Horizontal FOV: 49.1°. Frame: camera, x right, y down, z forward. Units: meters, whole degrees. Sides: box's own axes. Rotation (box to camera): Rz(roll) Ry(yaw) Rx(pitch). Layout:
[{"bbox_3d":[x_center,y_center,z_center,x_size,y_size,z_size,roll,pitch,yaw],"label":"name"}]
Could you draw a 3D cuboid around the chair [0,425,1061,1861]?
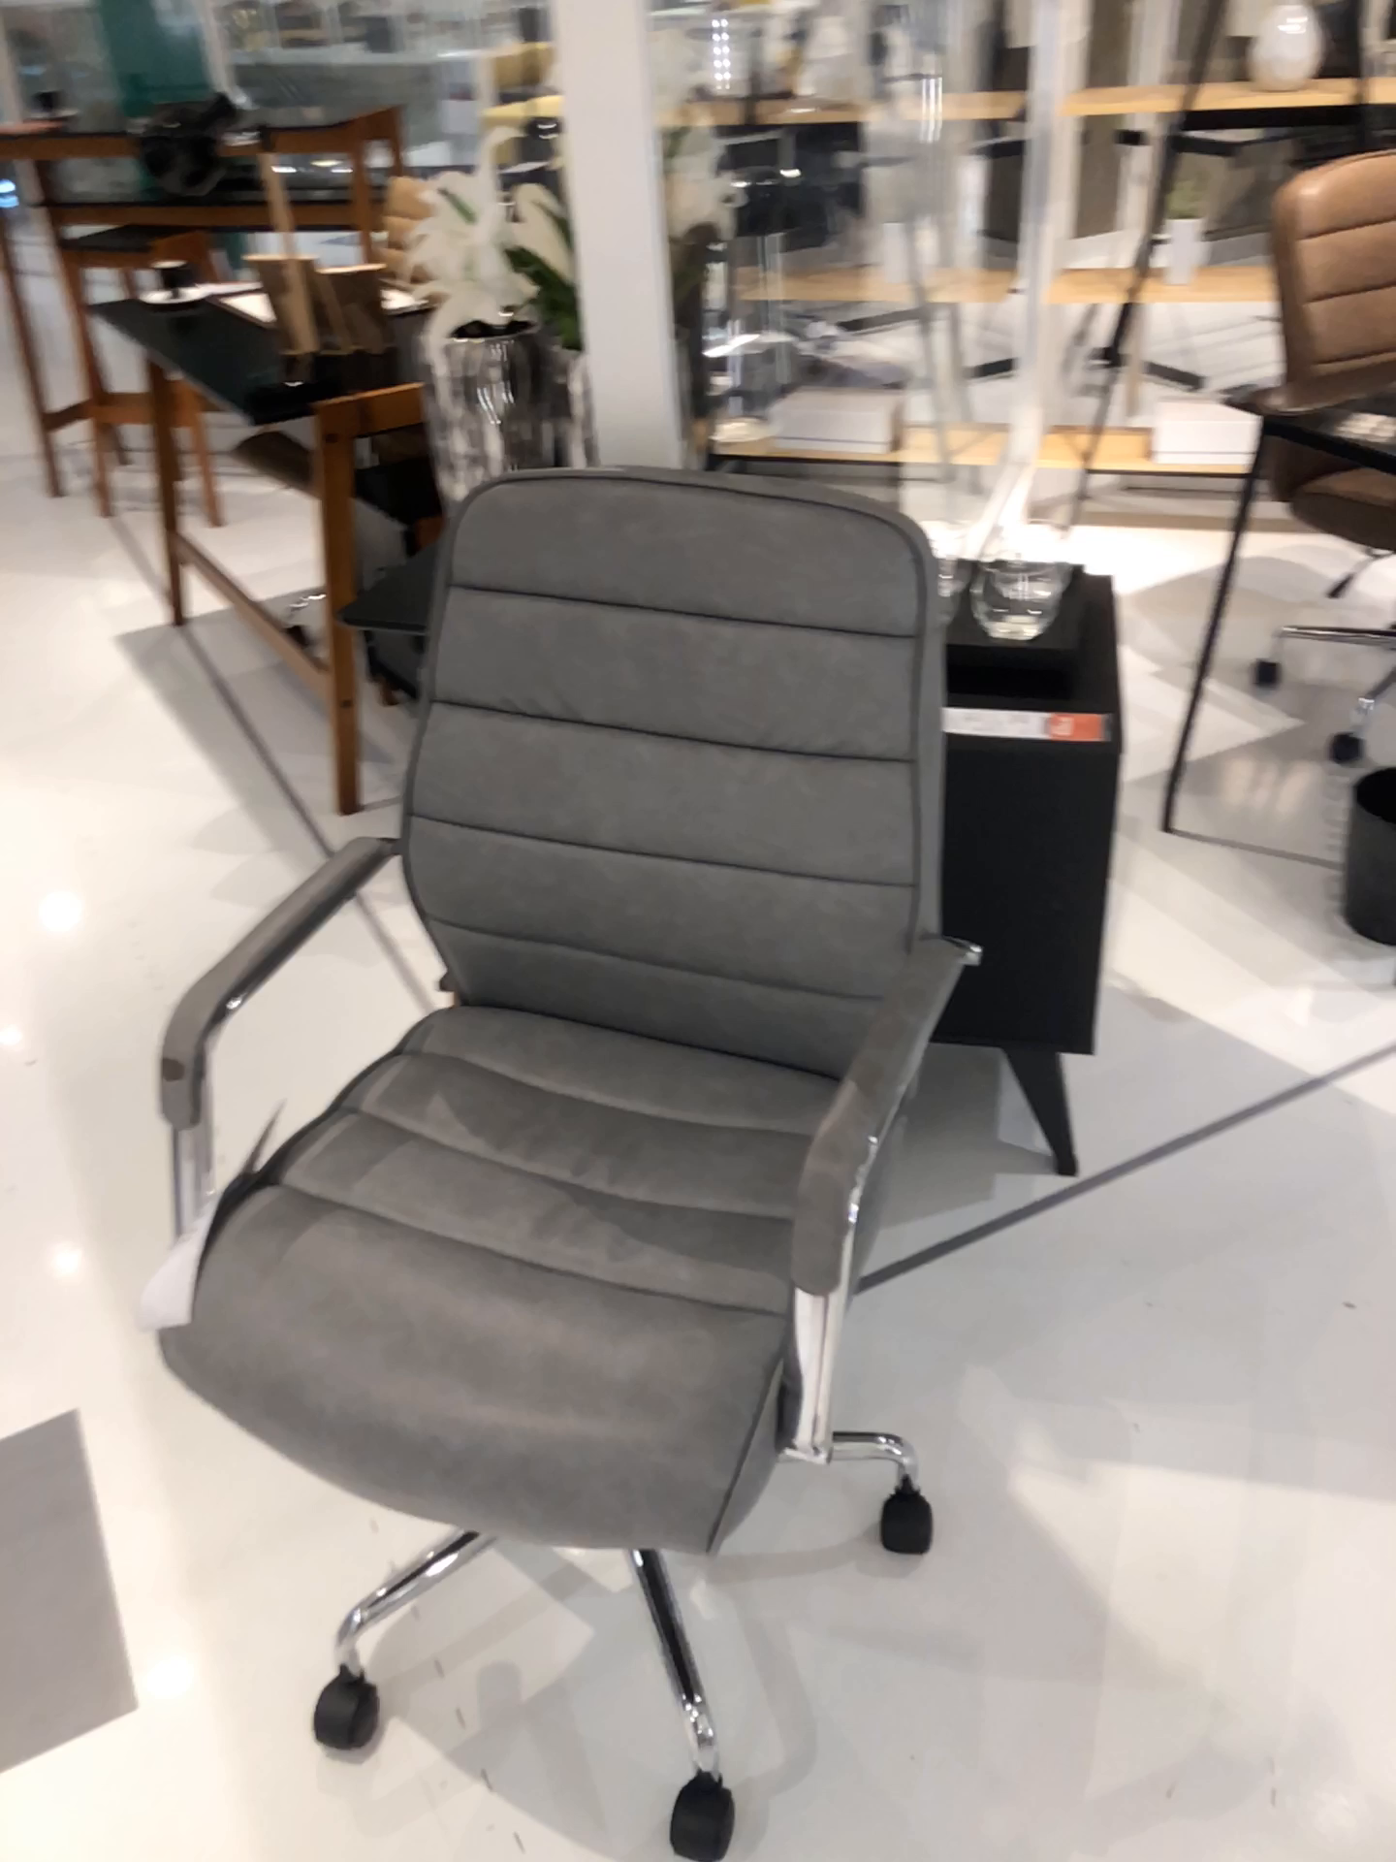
[{"bbox_3d":[-0.105,0.190,1.235,0.601,0.993,0.554,11,36,22],"label":"chair"}]
